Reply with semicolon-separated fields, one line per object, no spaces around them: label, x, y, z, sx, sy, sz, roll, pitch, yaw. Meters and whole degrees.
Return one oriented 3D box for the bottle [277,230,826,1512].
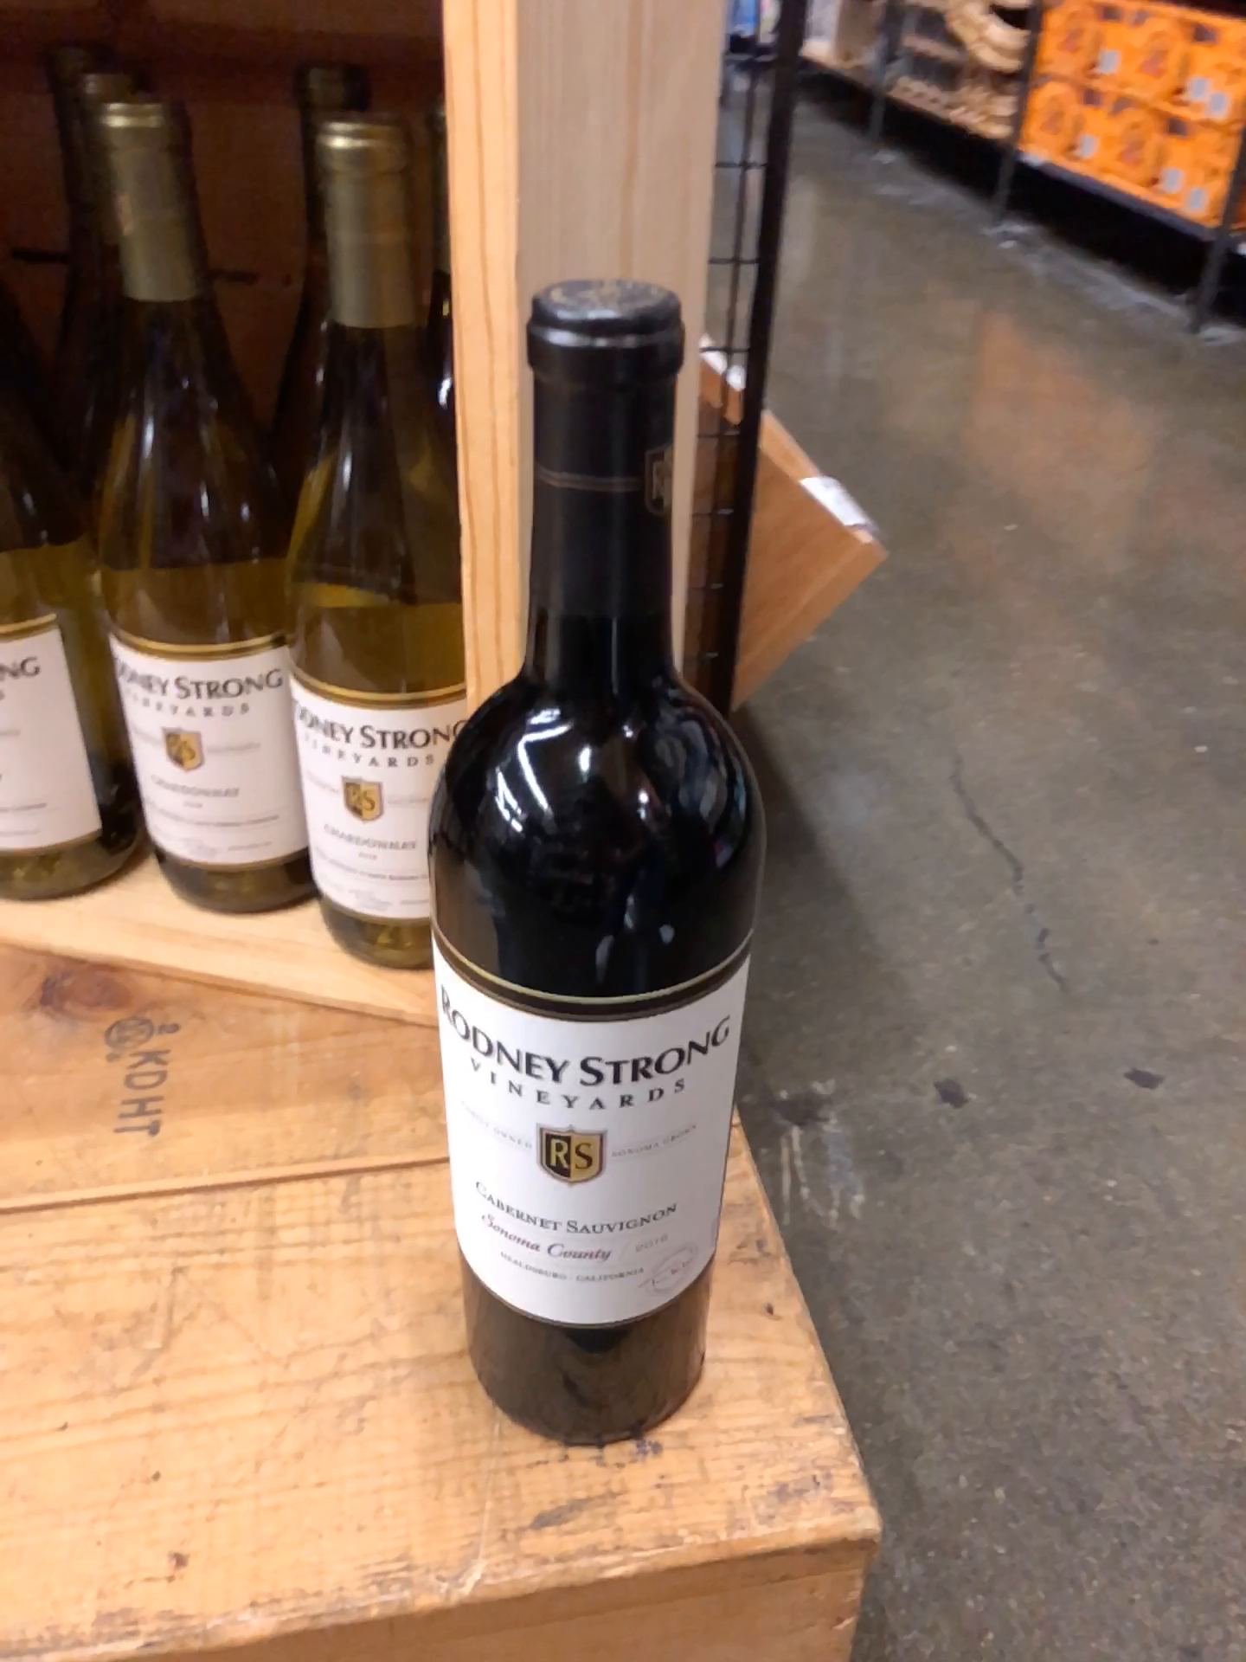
bottle;-0.014;0.034;0.324;0.080;0.309;0.070;9;35;8
